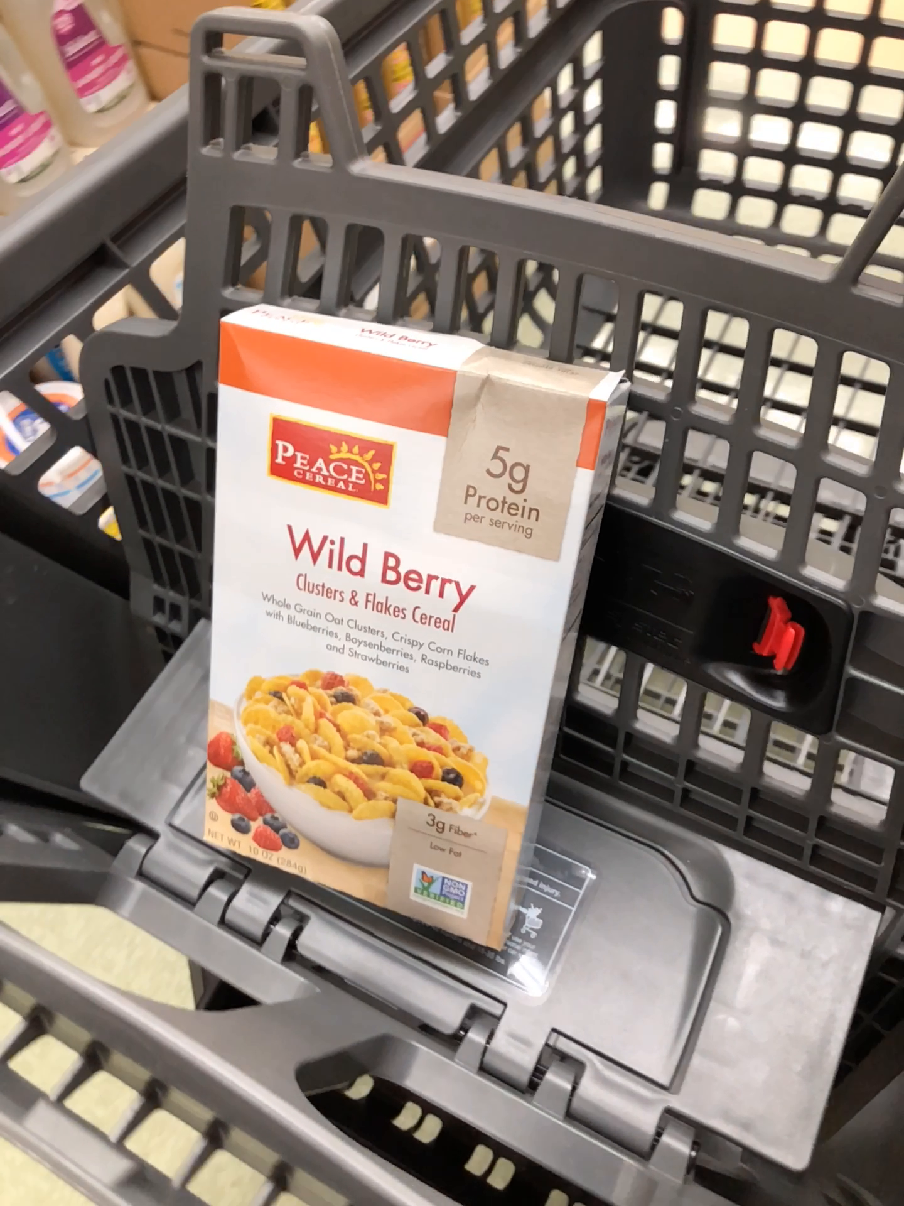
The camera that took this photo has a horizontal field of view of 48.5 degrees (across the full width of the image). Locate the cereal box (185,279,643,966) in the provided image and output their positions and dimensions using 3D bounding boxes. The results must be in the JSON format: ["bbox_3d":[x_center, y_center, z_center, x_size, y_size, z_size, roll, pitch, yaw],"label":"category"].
[{"bbox_3d":[-0.027,0.009,0.433,0.160,0.260,0.060,15,24,17],"label":"cereal box"}]
